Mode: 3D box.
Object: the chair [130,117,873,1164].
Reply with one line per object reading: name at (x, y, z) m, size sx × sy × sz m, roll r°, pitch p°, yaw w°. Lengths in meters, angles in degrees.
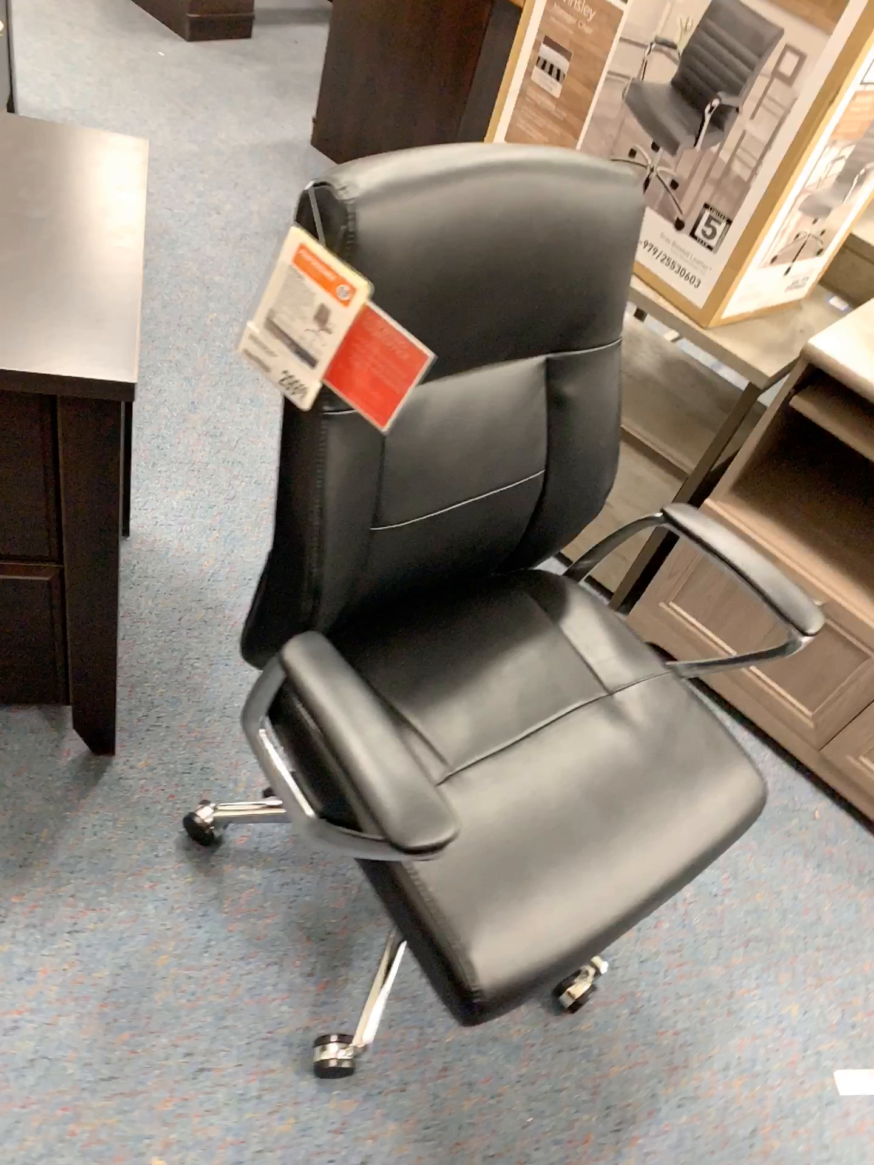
chair at (0.107, 0.115, 1.086) m, size 0.666 × 0.996 × 0.718 m, roll -21°, pitch 59°, yaw -34°
